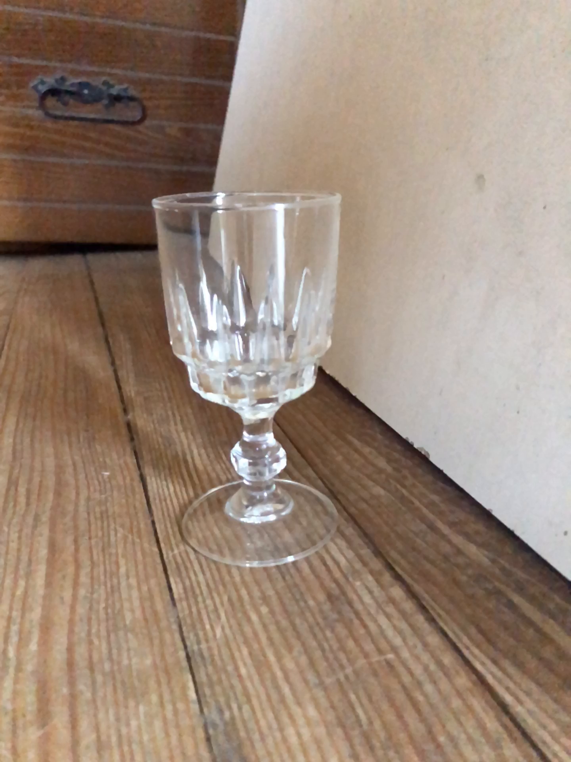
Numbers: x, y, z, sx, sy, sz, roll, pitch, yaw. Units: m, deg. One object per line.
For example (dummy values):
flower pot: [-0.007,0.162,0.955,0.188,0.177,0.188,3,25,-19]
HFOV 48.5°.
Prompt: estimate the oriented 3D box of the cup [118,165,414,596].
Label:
cup: [-0.009,-0.008,0.214,0.070,0.119,0.070,-1,20,0]
